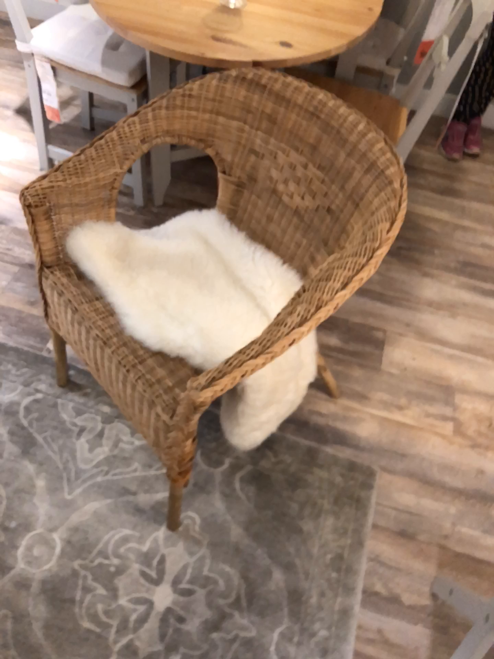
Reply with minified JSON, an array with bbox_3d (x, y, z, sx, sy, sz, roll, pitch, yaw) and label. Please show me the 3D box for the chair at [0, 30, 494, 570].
[{"bbox_3d":[-0.068,-0.067,1.169,0.631,0.718,0.651,-30,61,-27],"label":"chair"}]
